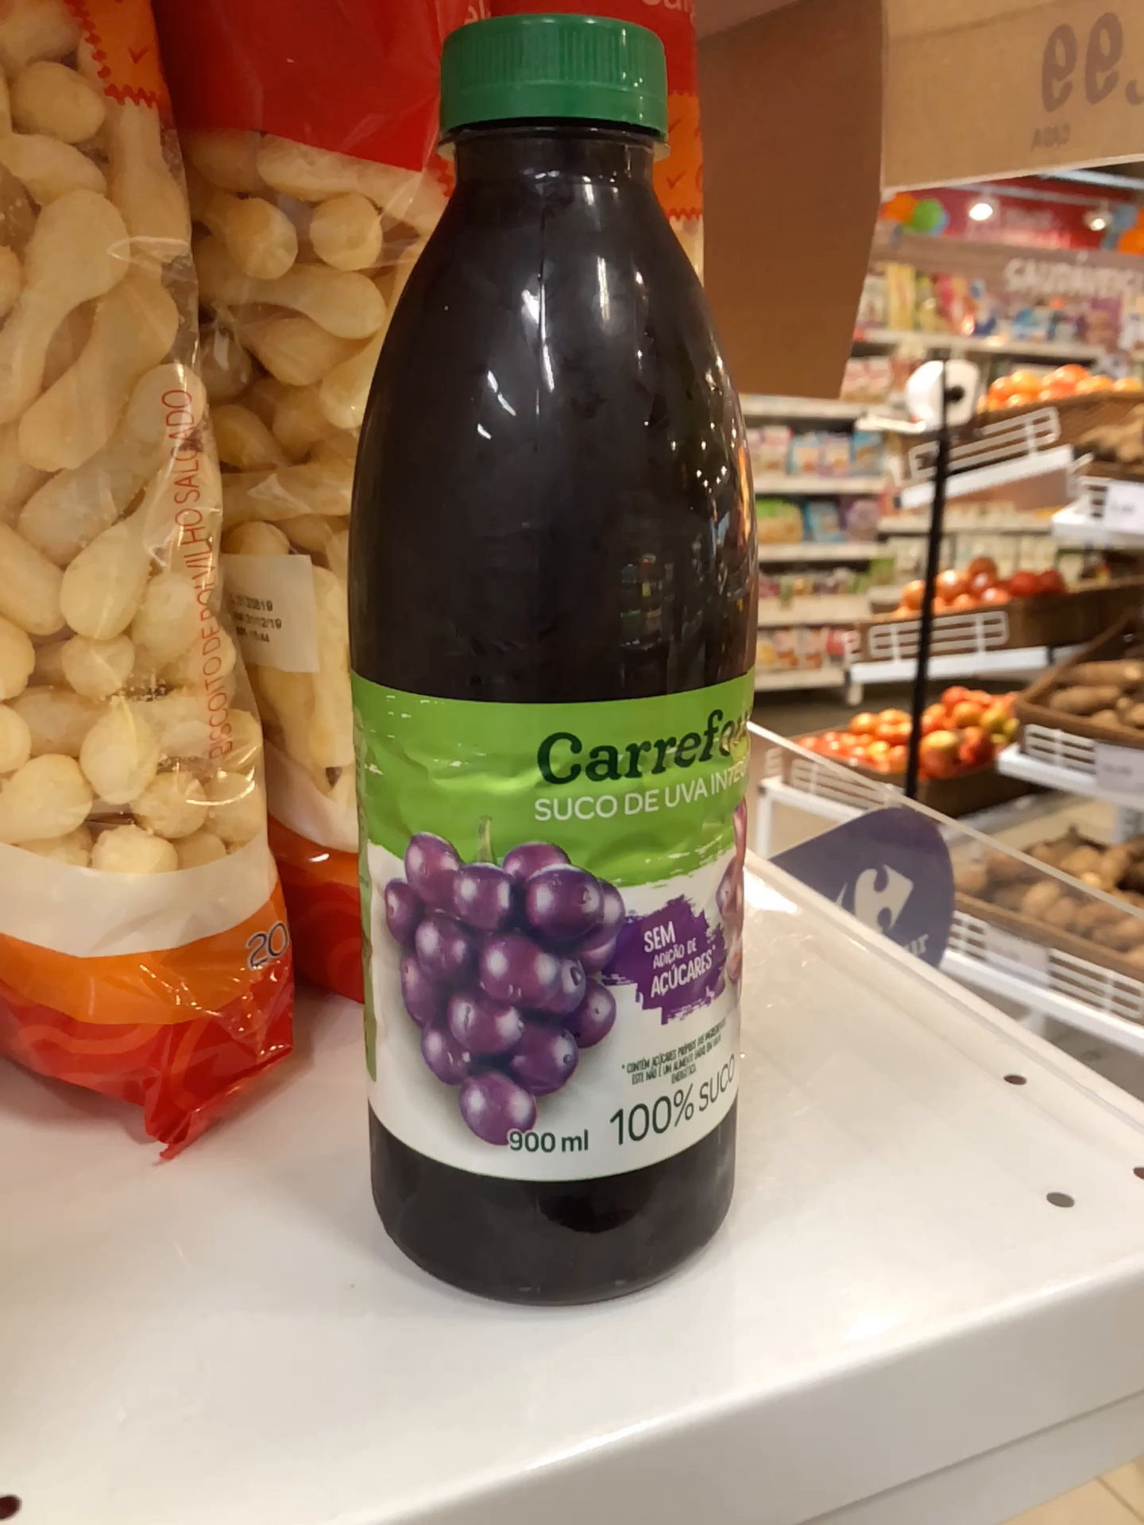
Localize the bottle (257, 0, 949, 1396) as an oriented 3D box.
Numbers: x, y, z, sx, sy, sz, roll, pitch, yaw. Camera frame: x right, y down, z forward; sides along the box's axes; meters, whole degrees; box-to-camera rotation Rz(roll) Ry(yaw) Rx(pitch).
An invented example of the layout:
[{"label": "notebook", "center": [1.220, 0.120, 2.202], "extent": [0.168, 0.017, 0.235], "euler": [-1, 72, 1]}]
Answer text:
[{"label": "bottle", "center": [0.001, -0.015, 0.252], "extent": [0.090, 0.229, 0.080], "euler": [-11, 20, -40]}]
